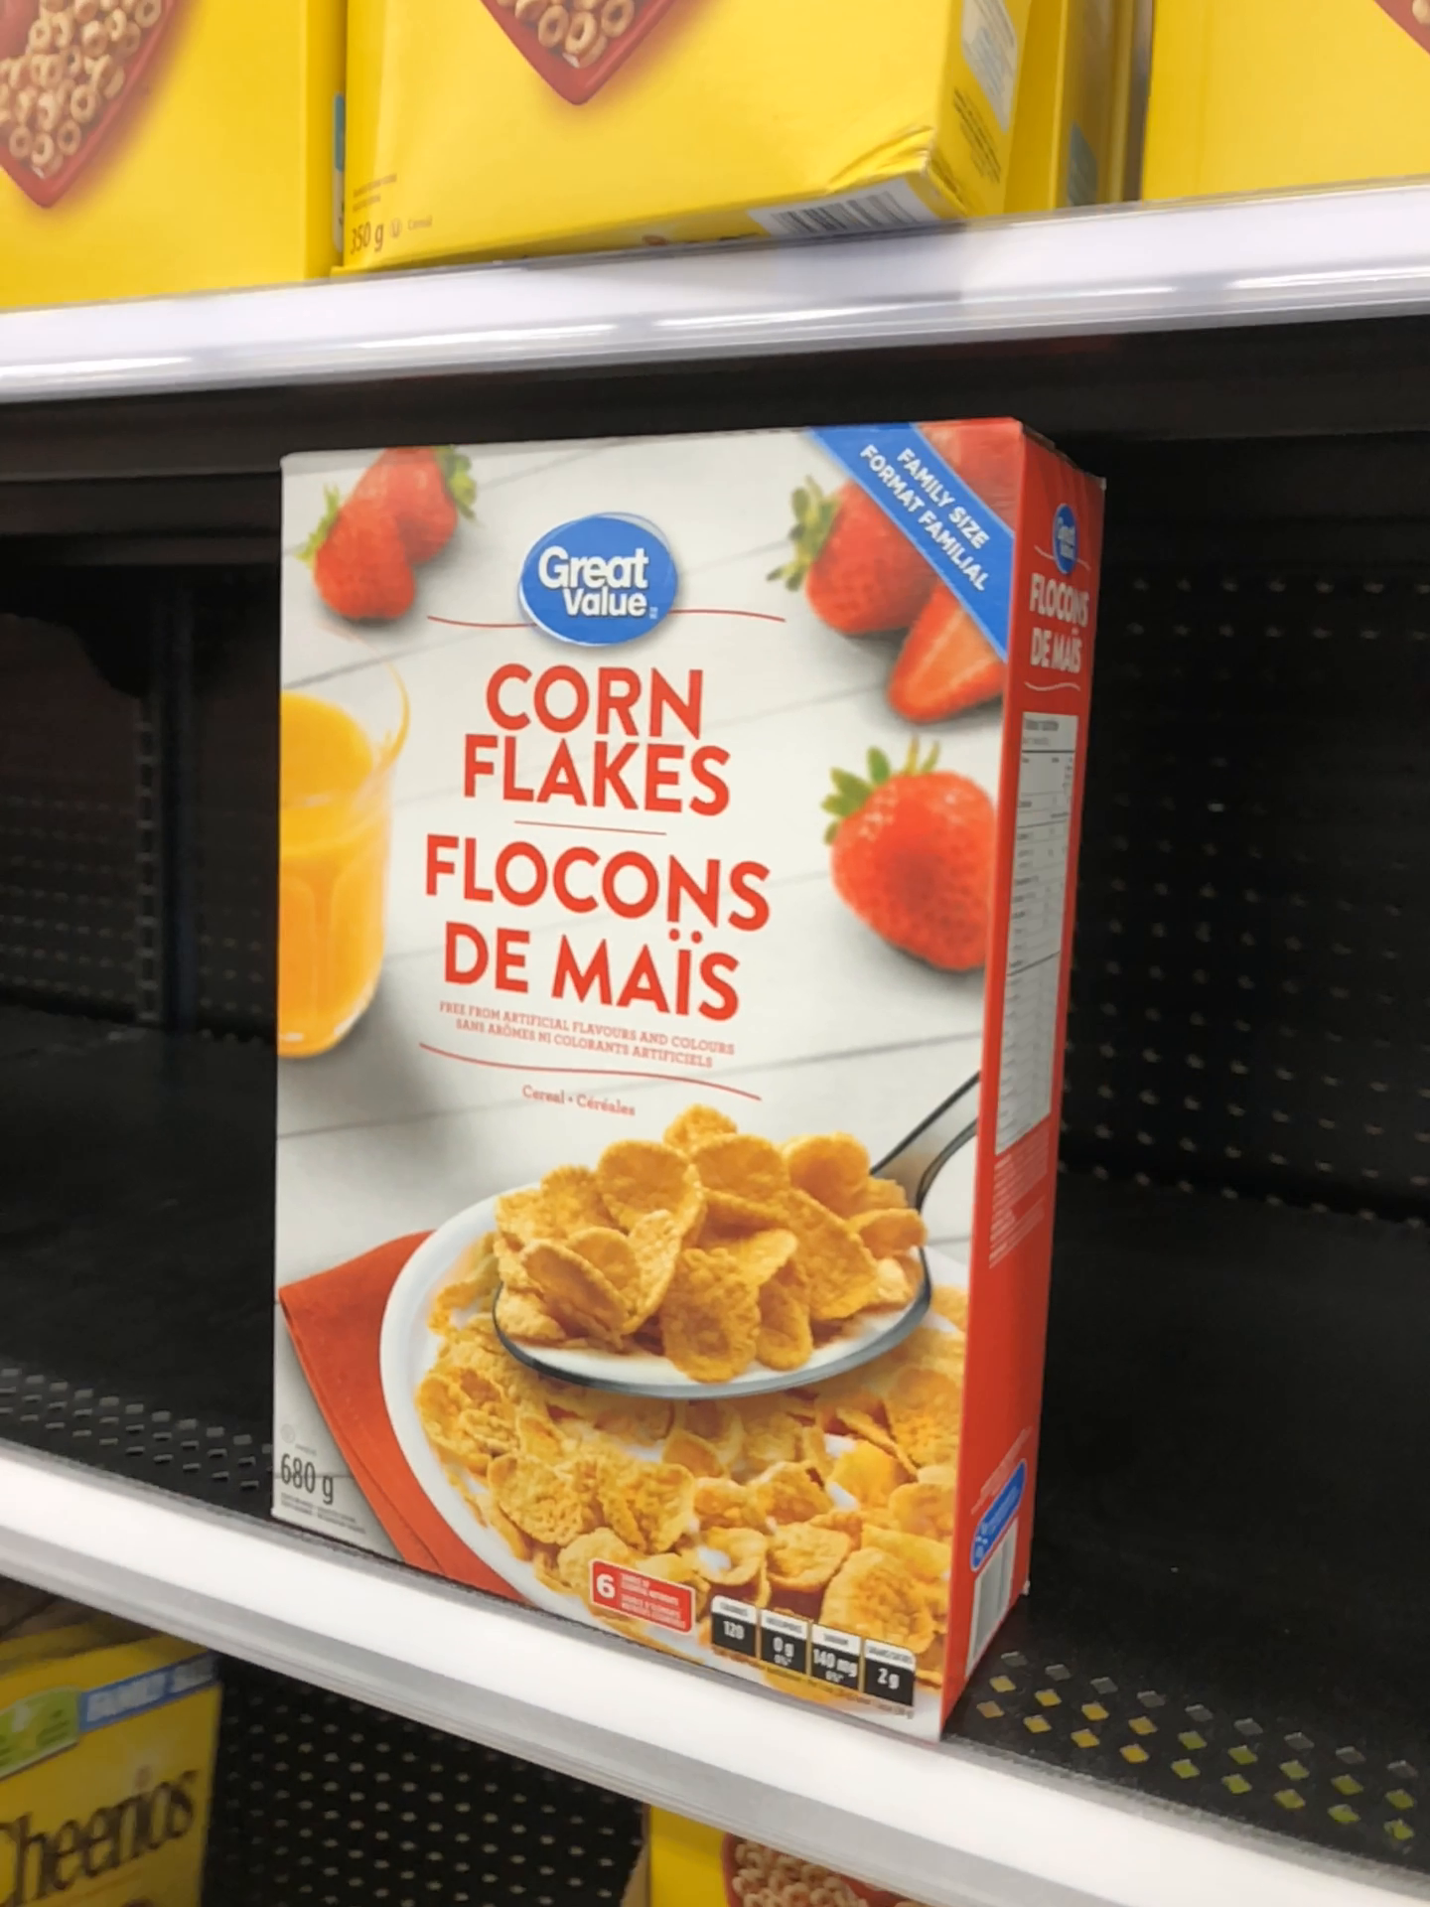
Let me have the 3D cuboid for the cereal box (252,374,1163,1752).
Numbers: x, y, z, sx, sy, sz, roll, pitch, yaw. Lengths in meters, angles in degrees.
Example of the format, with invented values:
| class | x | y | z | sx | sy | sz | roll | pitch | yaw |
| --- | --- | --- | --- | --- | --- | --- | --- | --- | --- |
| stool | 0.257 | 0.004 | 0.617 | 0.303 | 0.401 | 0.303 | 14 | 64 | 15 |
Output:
| class | x | y | z | sx | sy | sz | roll | pitch | yaw |
| --- | --- | --- | --- | --- | --- | --- | --- | --- | --- |
| cereal box | -0.012 | 0.017 | 0.465 | 0.240 | 0.329 | 0.090 | 6 | 9 | 26 |
